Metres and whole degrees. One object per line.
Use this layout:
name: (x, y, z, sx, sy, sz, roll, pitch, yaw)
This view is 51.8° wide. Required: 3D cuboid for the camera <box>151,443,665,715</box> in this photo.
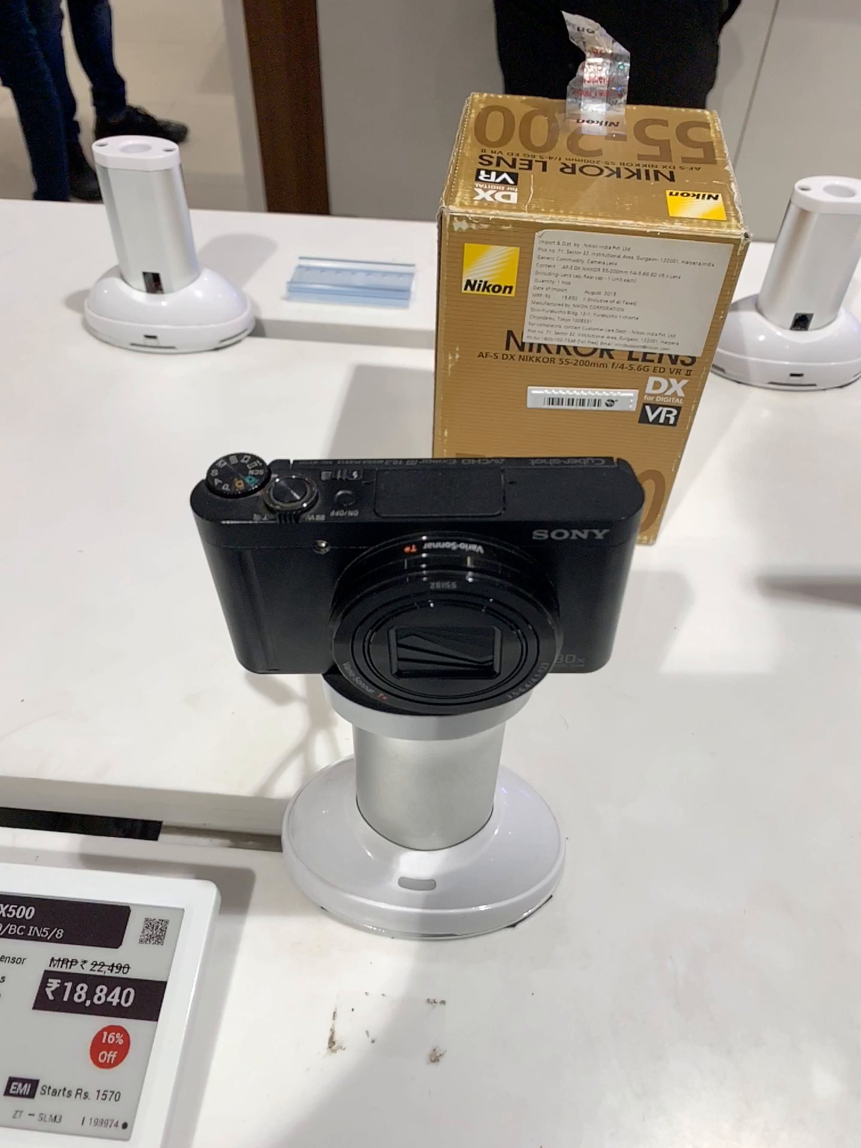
camera: (-0.005, 0.003, 0.205, 0.100, 0.060, 0.030, 0, 48, -1)
